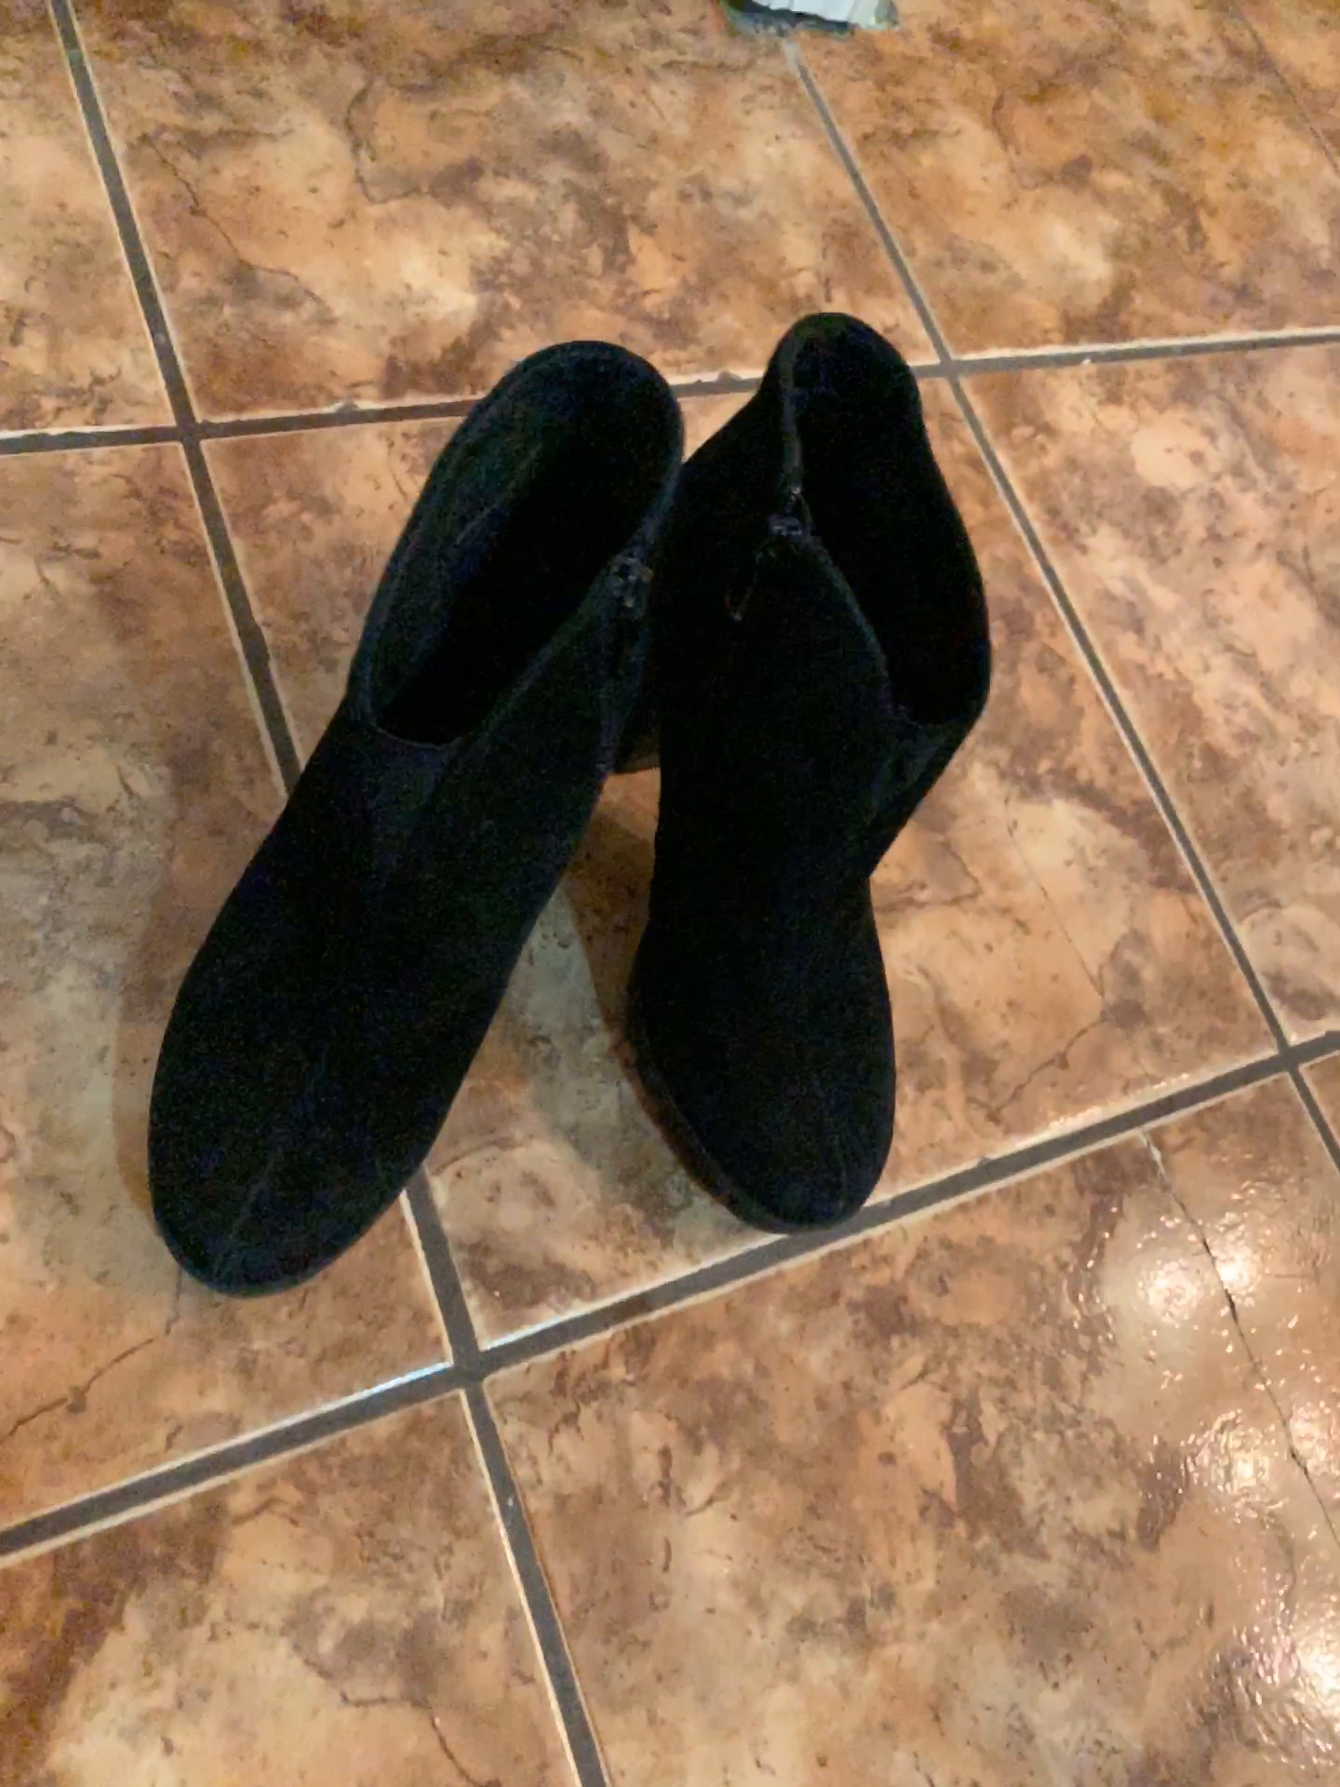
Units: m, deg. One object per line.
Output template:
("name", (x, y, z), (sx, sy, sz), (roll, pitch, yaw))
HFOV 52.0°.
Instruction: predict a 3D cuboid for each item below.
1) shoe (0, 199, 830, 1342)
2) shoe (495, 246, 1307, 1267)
("shoe", (-0.064, -0.020, 0.365), (0.094, 0.180, 0.230), (24, 61, -6))
("shoe", (0.039, -0.031, 0.404), (0.094, 0.180, 0.230), (-11, 70, -22))
